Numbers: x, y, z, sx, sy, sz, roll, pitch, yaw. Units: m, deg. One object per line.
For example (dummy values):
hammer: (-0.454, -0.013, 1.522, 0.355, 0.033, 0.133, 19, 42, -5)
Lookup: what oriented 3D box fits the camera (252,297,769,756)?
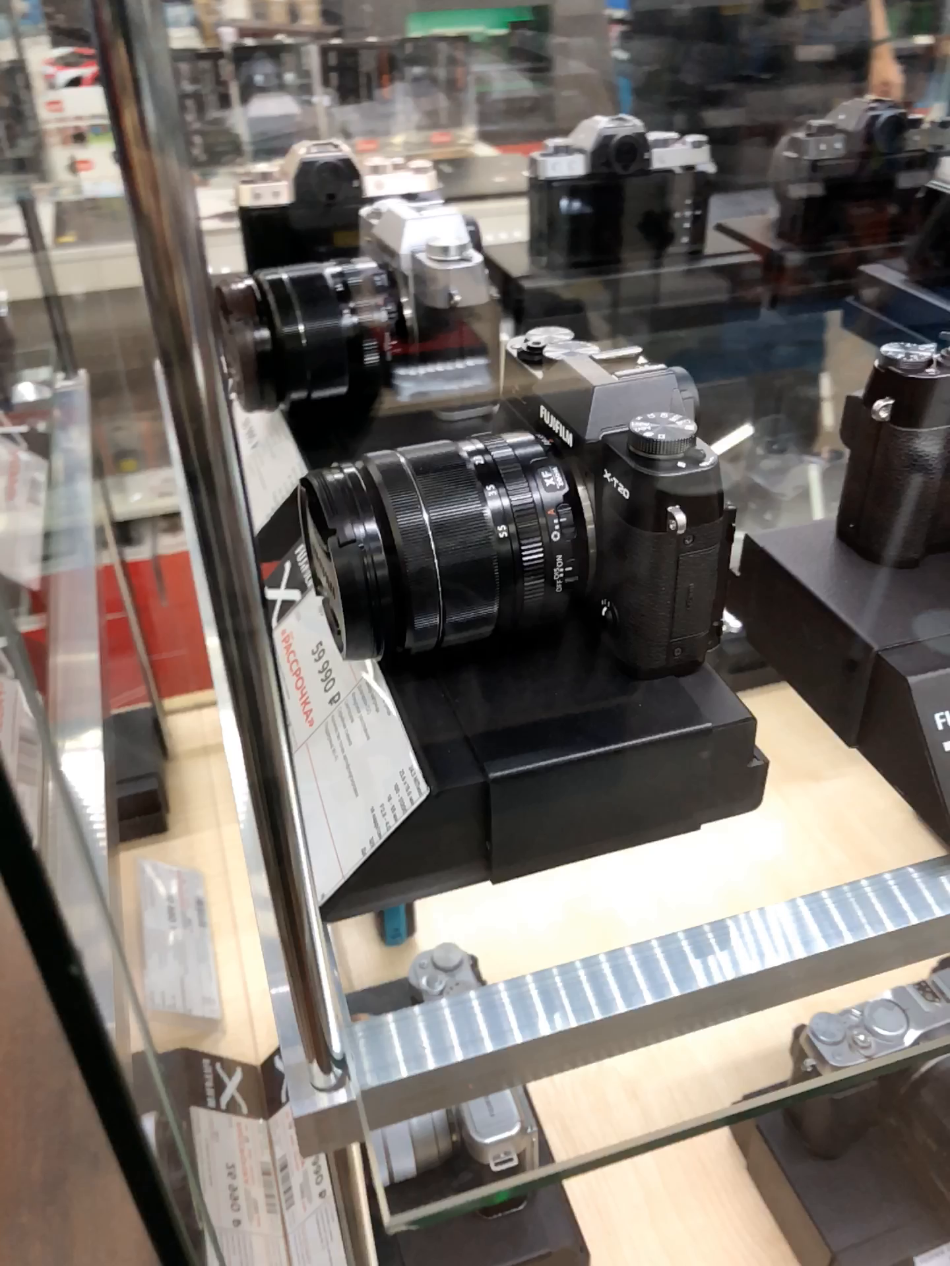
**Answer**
camera: (0.004, -0.043, 0.339, 0.121, 0.081, 0.121, -12, 36, -15)
